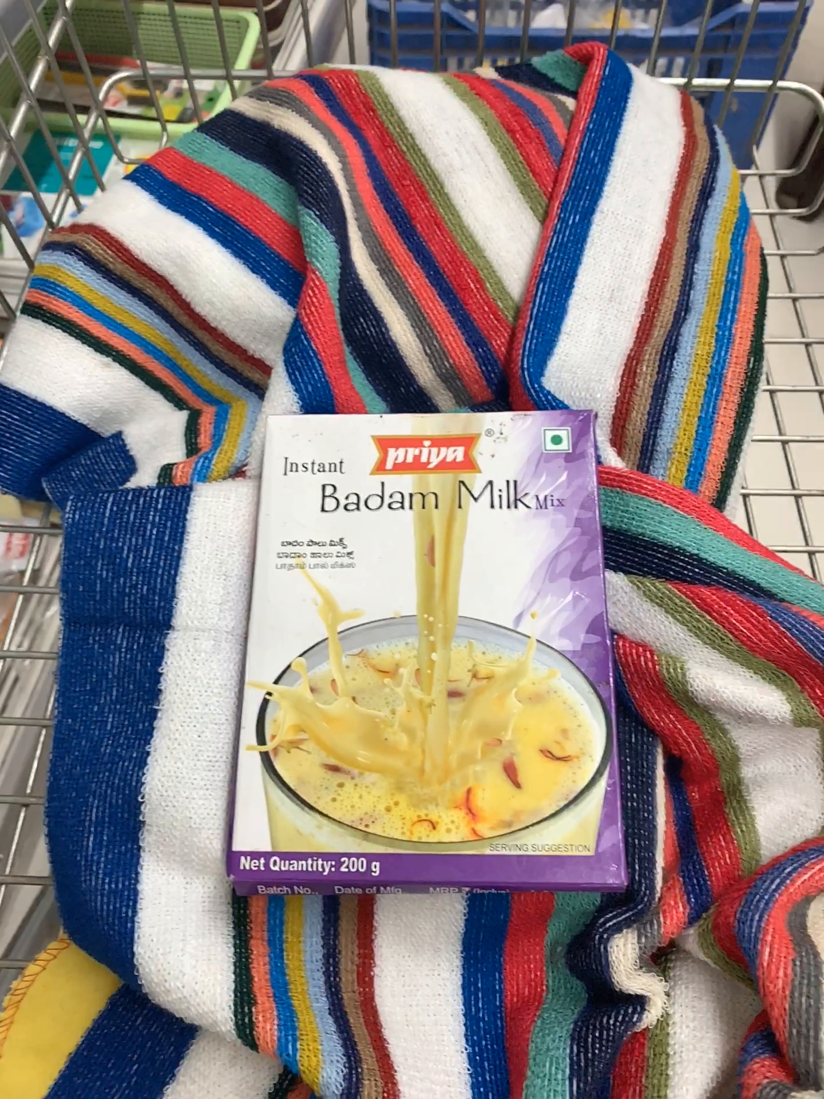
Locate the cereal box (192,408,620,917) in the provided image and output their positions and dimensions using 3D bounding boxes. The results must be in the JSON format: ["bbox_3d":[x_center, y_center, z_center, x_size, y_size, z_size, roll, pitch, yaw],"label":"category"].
[{"bbox_3d":[0.000,0.032,0.281,0.120,0.030,0.160,1,70,1],"label":"cereal box"}]
